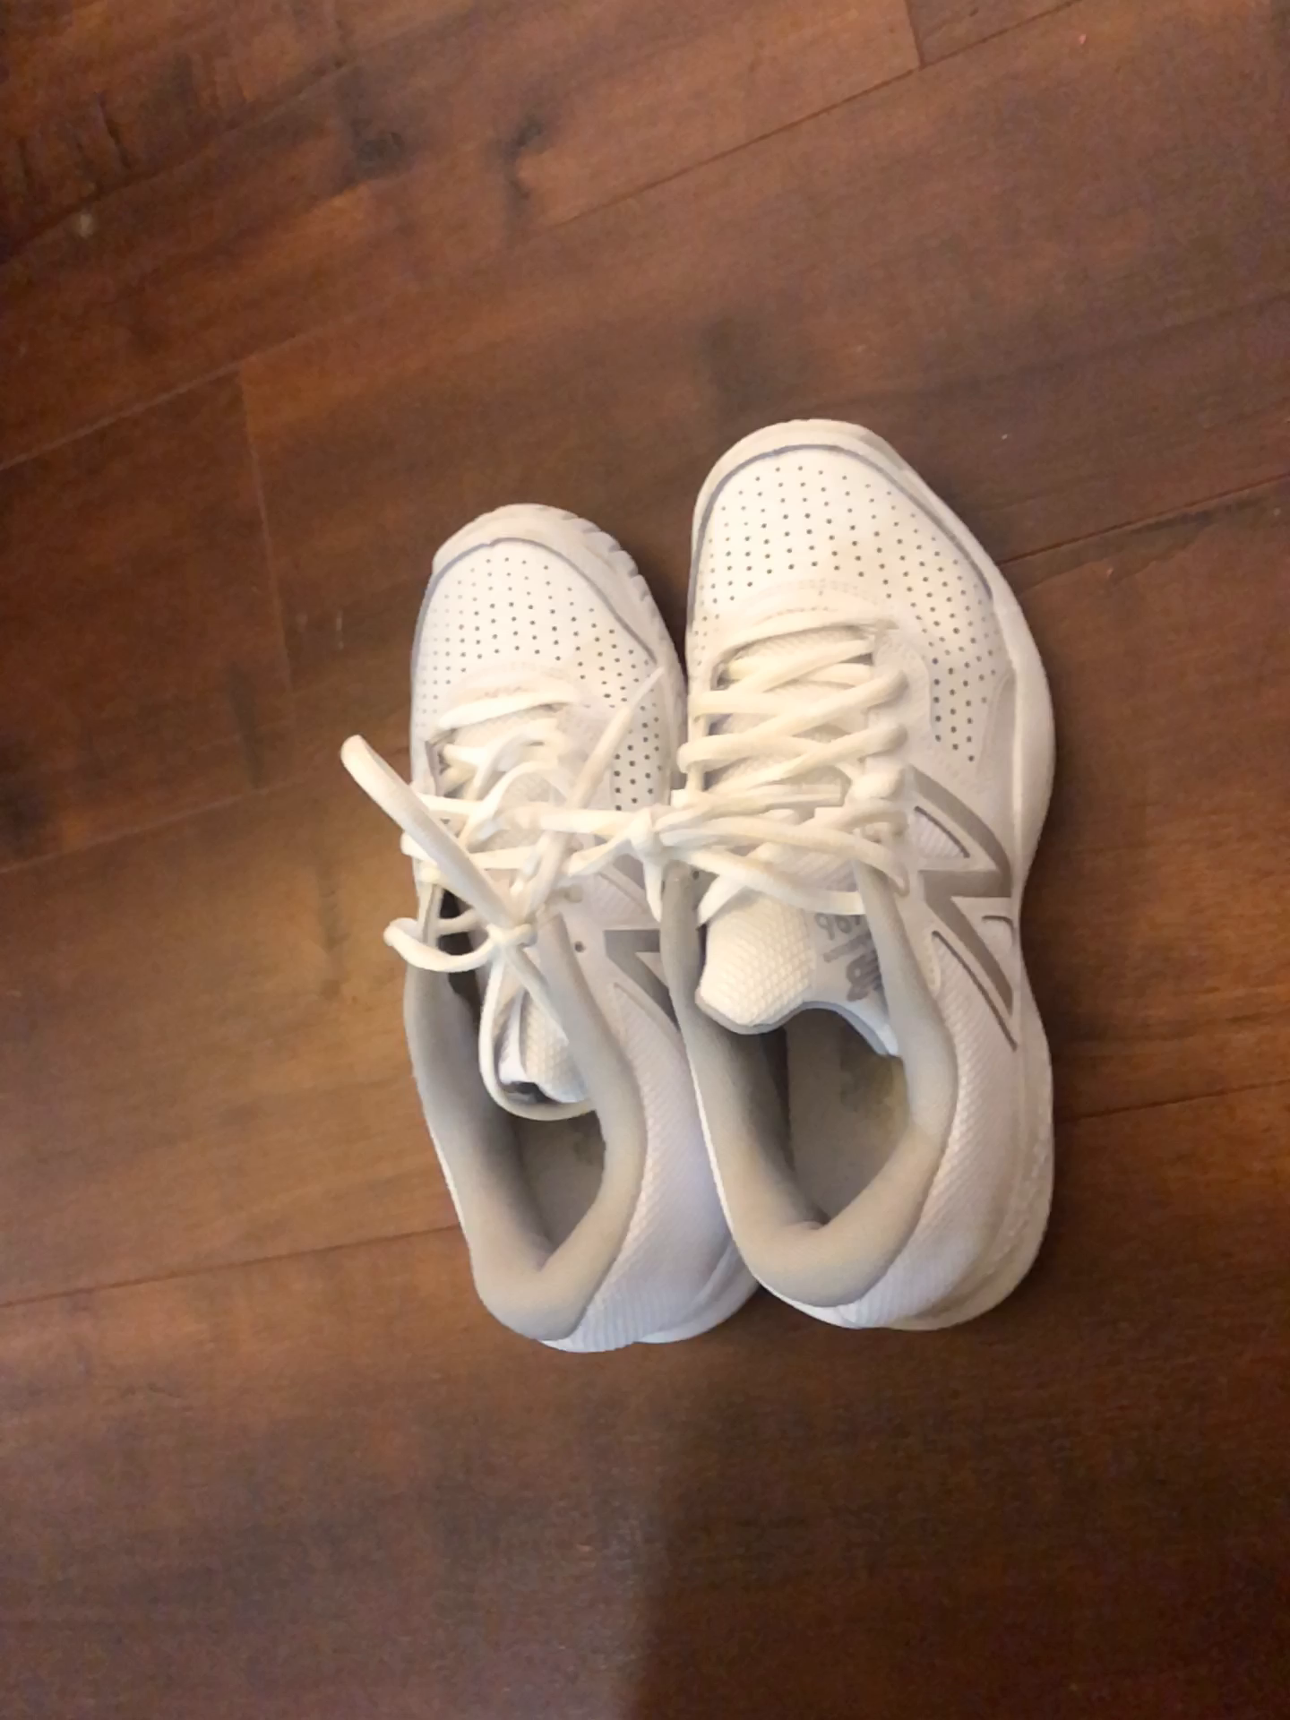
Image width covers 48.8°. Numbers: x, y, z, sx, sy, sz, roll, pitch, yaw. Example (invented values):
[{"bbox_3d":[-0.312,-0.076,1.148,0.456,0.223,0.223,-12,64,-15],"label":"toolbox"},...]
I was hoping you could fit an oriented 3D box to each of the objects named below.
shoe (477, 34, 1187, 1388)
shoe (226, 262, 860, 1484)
[{"bbox_3d":[0.063,-0.029,0.419,0.120,0.170,0.310,-11,81,23],"label":"shoe"},{"bbox_3d":[-0.027,0.006,0.436,0.100,0.130,0.310,-13,80,20],"label":"shoe"}]
